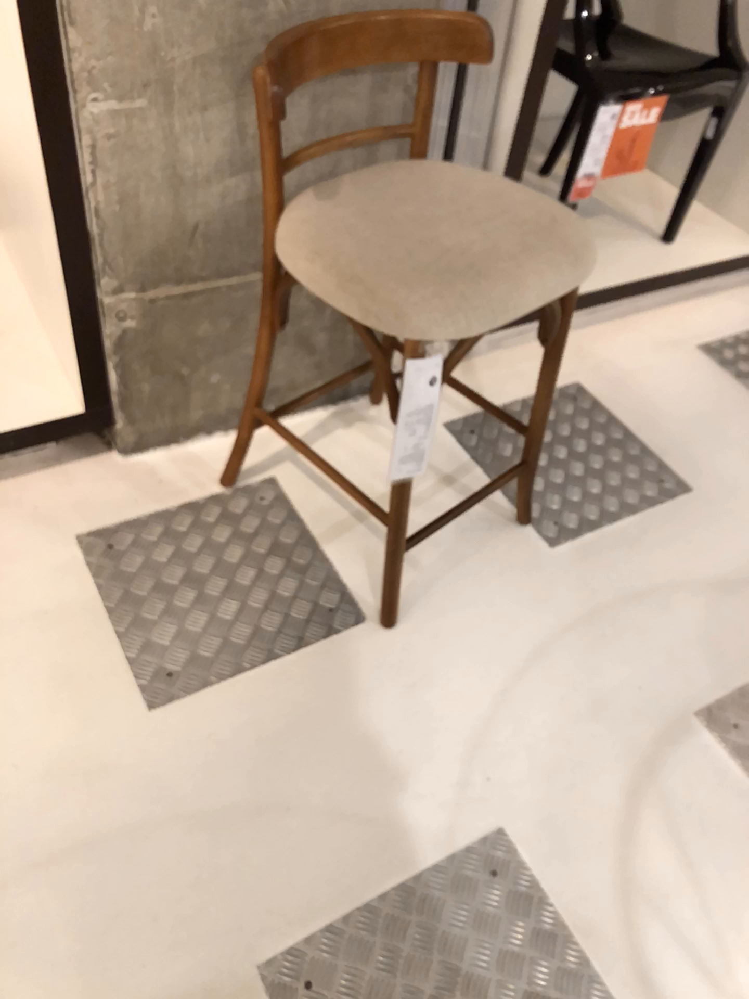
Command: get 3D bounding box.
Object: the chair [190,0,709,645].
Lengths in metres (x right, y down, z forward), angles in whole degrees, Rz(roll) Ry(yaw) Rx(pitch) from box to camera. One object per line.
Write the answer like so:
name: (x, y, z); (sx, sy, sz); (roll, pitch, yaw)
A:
chair: (0.056, -0.278, 1.375); (0.493, 0.813, 0.481); (-32, 59, -33)
